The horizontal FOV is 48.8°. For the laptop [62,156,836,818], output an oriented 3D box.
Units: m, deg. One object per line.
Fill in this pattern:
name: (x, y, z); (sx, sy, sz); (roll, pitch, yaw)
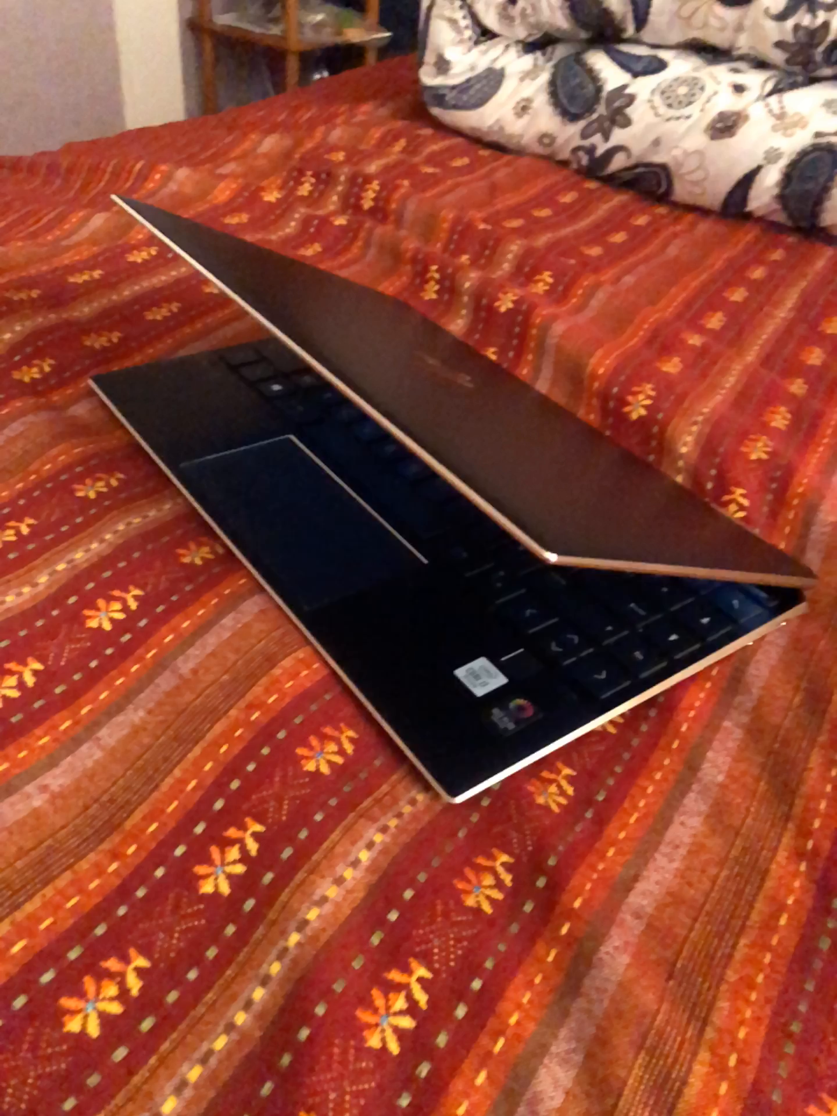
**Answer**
laptop: (-0.001, -0.081, 0.407); (0.203, 0.101, 0.326); (-18, 42, -33)
